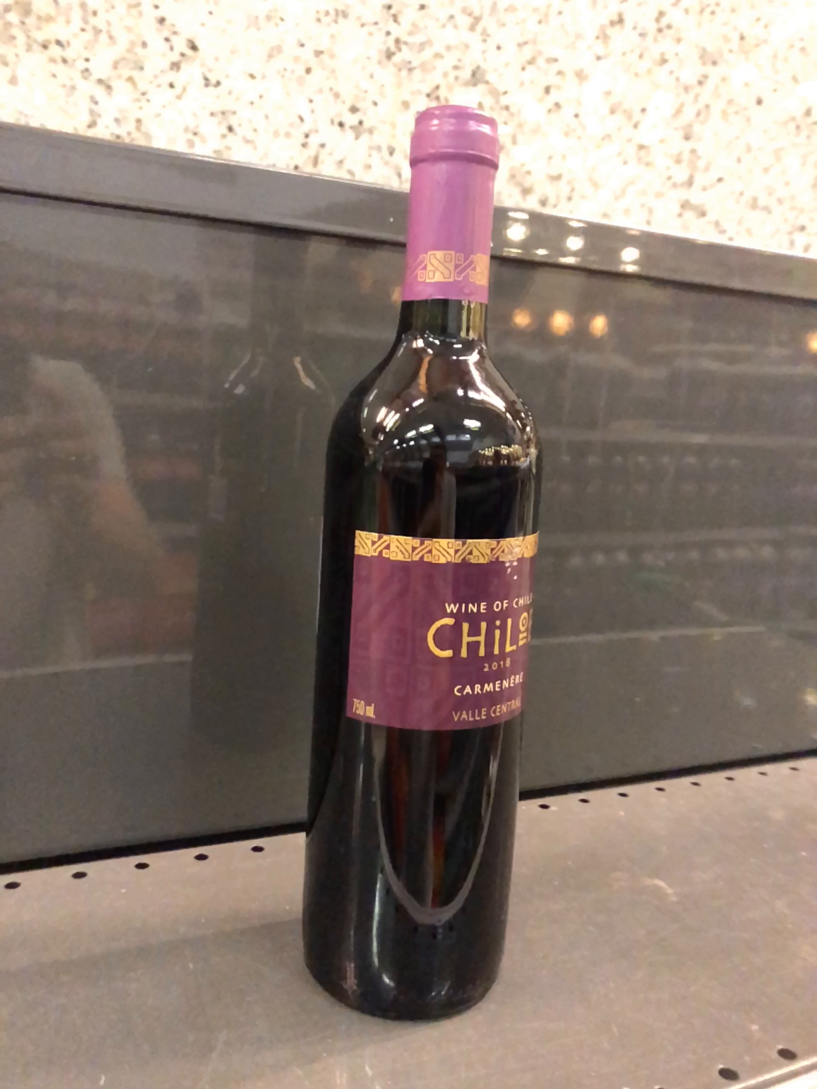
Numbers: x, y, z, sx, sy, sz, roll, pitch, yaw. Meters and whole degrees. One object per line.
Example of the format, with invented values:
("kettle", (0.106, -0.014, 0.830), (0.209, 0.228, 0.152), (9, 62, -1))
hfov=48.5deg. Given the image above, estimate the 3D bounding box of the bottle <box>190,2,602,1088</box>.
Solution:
("bottle", (-0.011, 0.009, 0.316), (0.090, 0.319, 0.080), (-4, 13, -39))
